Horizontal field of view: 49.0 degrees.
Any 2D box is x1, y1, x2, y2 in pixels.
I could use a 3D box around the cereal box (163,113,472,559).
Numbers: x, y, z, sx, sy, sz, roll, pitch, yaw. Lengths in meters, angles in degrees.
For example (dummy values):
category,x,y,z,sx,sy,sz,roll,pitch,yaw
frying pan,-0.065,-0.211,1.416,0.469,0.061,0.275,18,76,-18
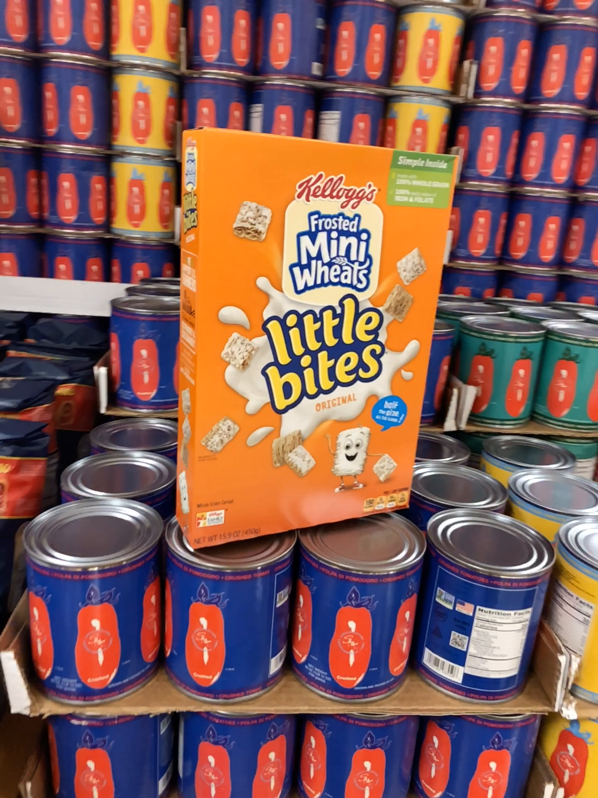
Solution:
category,x,y,z,sx,sy,sz,roll,pitch,yaw
cereal box,0.008,-0.042,0.488,0.200,0.288,0.060,-5,20,-28
